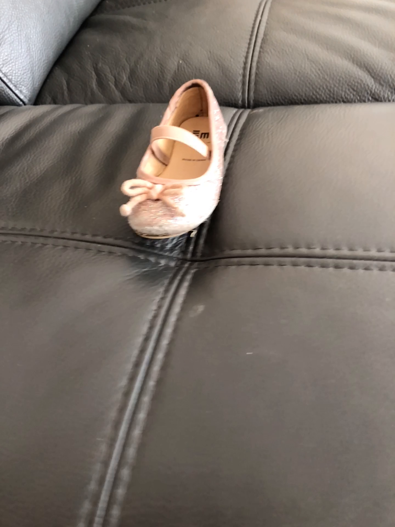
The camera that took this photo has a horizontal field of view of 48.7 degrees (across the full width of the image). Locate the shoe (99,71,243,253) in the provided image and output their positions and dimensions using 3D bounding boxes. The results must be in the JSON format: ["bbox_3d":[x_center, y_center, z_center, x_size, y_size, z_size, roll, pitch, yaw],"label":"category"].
[{"bbox_3d":[-0.010,-0.085,0.330,0.070,0.040,0.161,4,52,11],"label":"shoe"}]
